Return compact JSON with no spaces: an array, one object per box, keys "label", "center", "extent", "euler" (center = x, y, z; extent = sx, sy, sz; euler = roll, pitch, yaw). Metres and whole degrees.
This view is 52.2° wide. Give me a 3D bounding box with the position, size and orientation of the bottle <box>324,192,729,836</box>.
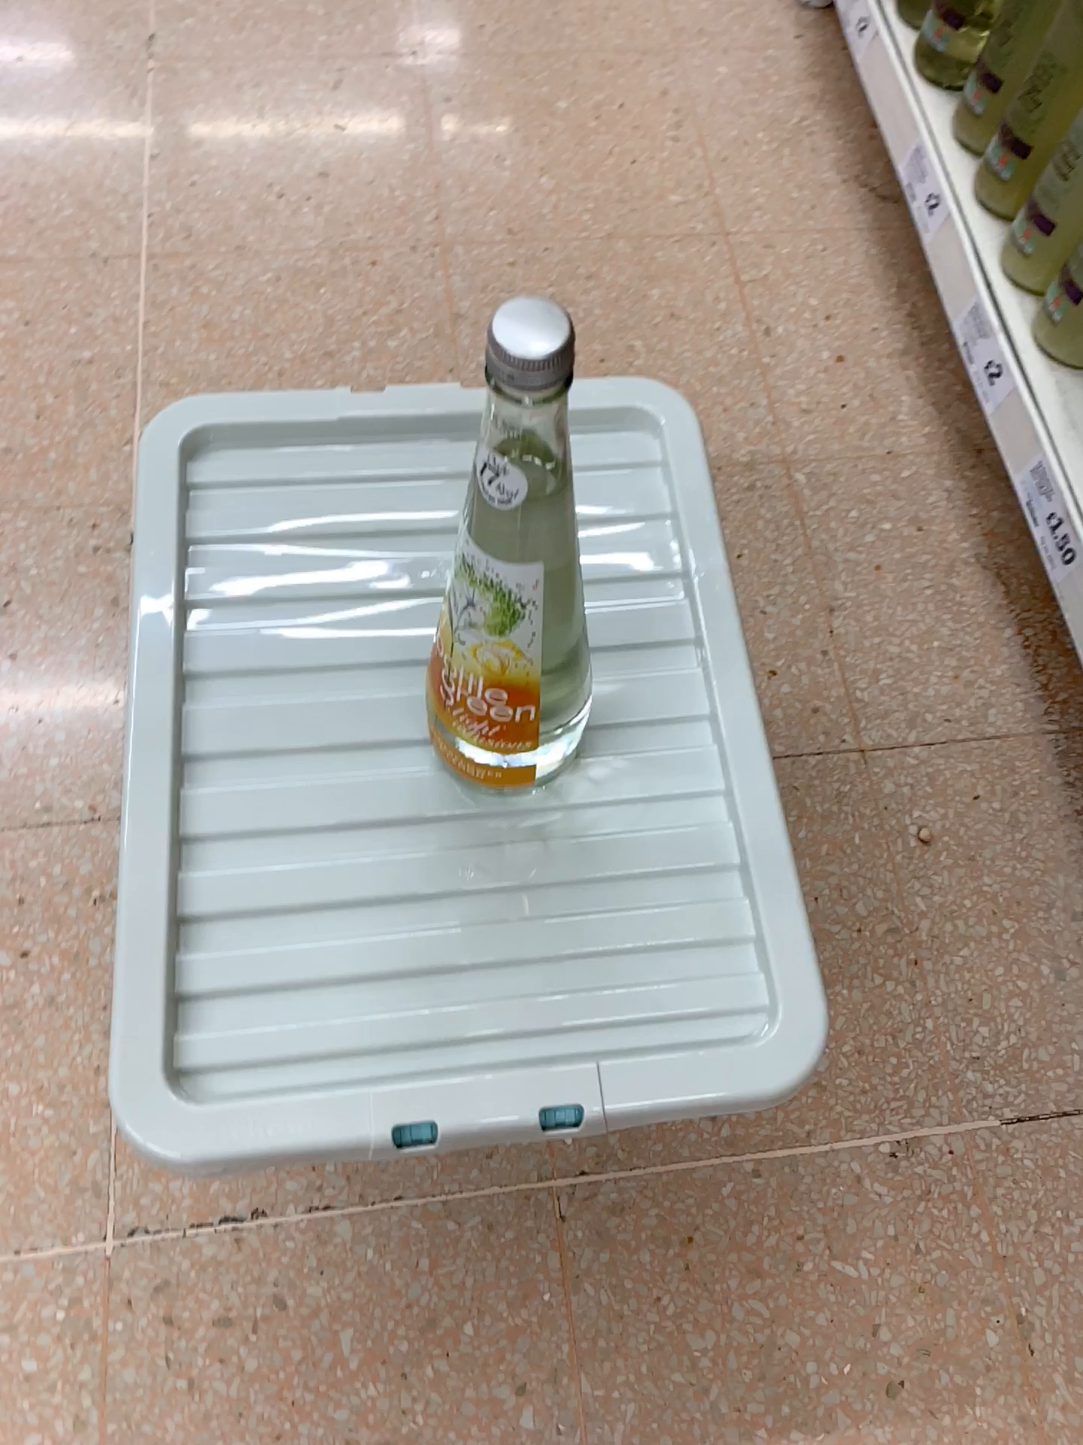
[{"label":"bottle","center":[-0.012,-0.059,0.473],"extent":[0.090,0.289,0.090],"euler":[2,65,-3]}]
